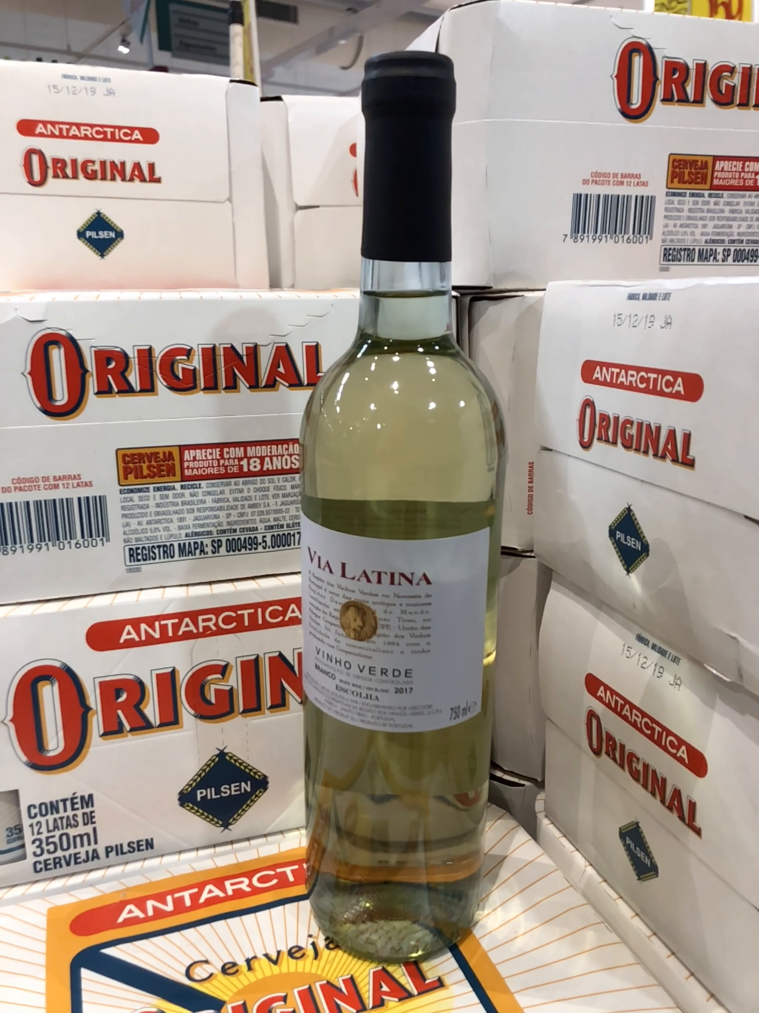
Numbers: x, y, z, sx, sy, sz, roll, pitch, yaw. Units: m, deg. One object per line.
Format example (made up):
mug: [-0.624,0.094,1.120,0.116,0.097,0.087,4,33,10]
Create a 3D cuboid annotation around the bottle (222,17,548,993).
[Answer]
bottle: [0.001,0.008,0.307,0.080,0.308,0.070,9,16,30]
